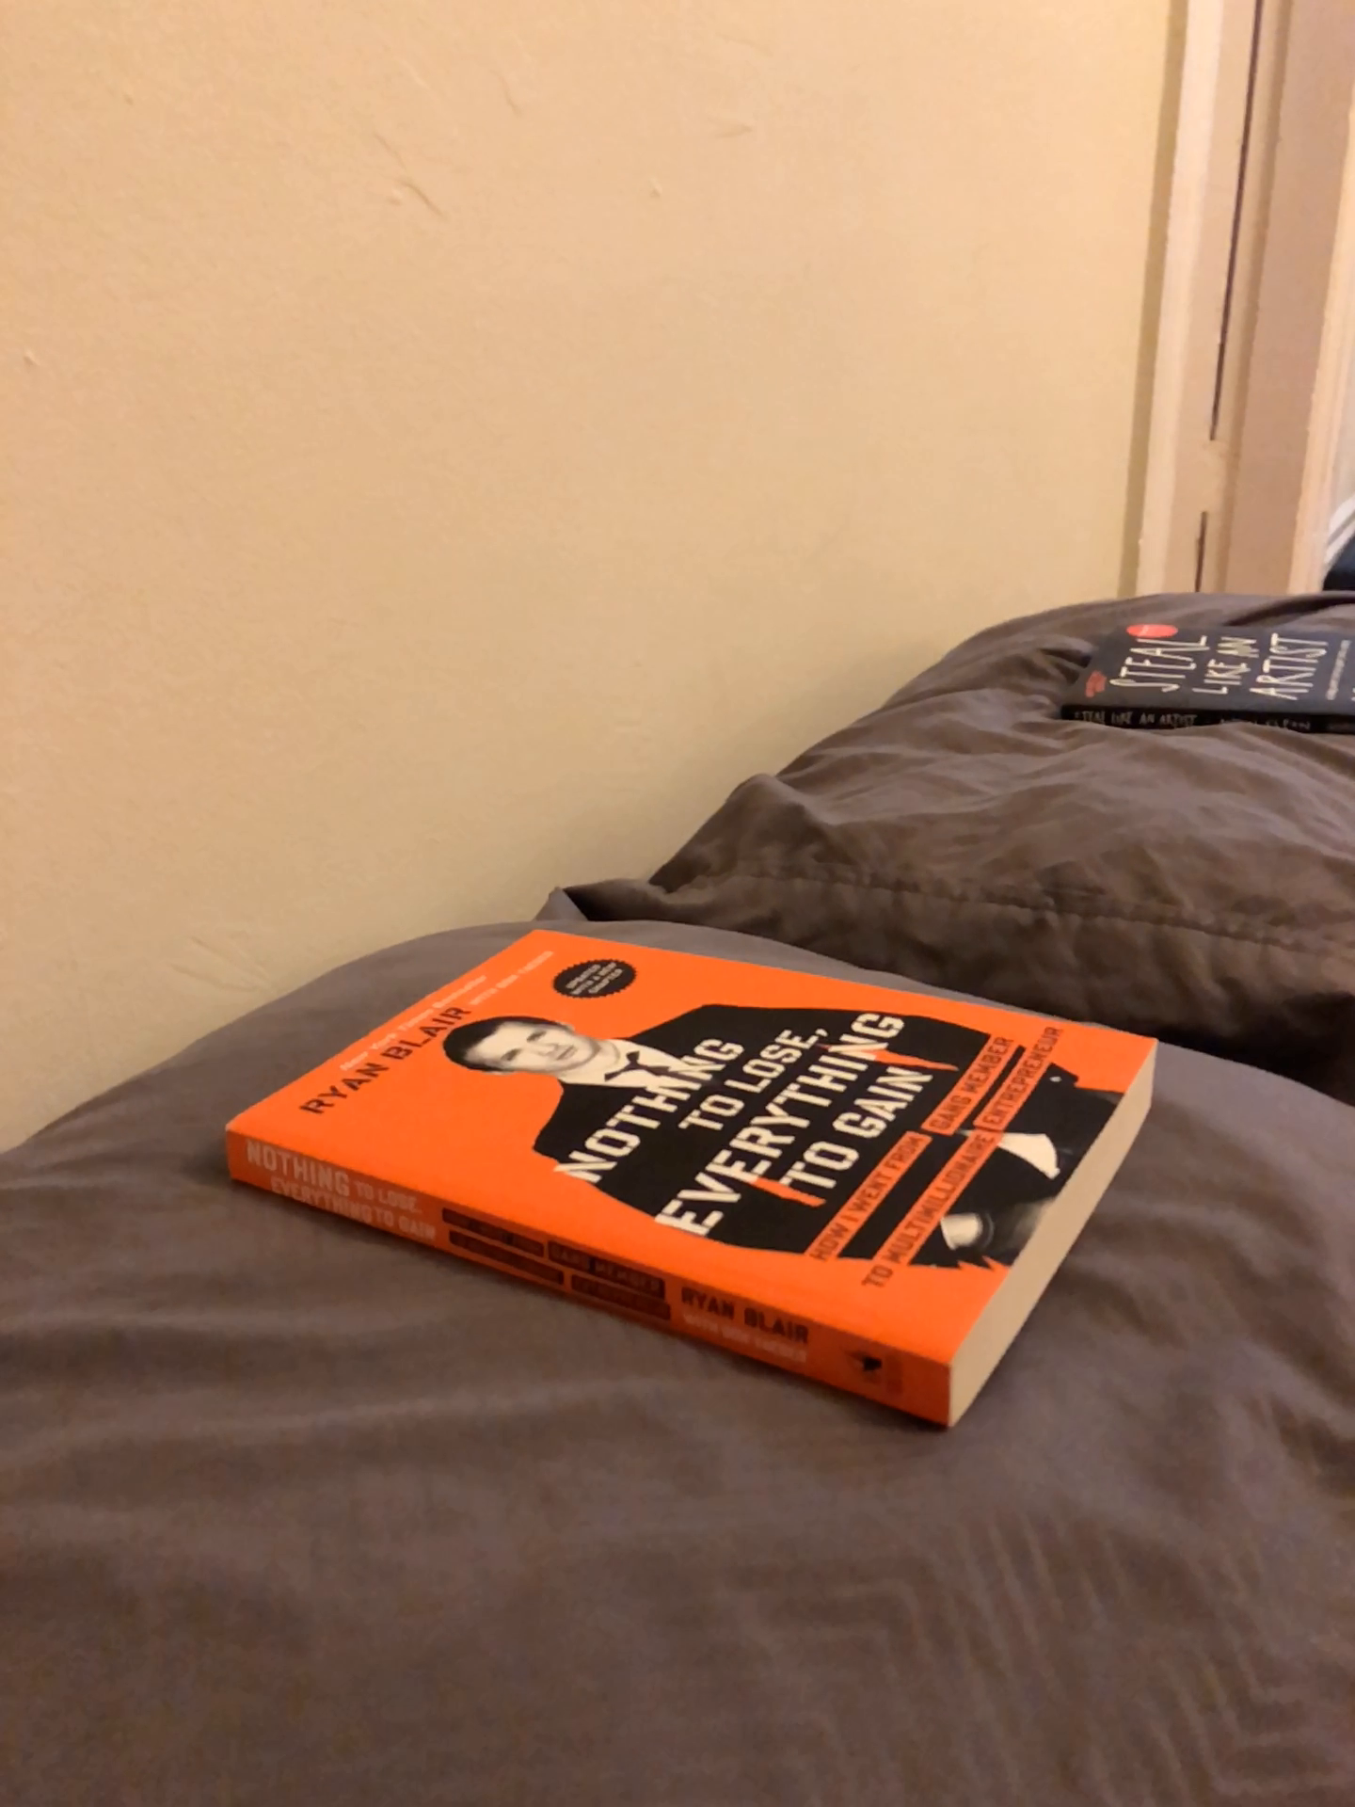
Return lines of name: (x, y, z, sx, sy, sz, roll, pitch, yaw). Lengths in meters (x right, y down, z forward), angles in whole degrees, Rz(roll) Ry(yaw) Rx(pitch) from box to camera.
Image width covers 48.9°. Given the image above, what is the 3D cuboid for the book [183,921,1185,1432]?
book: (0.002, 0.055, 0.411, 0.230, 0.020, 0.151, 9, 23, 32)
